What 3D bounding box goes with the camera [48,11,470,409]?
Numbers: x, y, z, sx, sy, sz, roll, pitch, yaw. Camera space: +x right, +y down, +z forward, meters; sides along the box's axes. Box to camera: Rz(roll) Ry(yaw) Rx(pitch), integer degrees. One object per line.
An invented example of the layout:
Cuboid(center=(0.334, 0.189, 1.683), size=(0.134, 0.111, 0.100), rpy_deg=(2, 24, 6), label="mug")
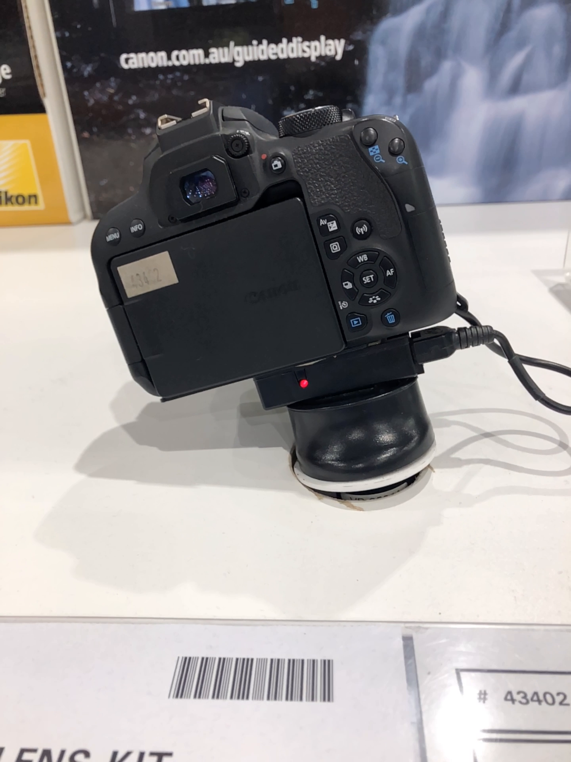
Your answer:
Cuboid(center=(-0.006, -0.063, 0.266), size=(0.130, 0.105, 0.070), rpy_deg=(-16, 9, 13), label="camera")
